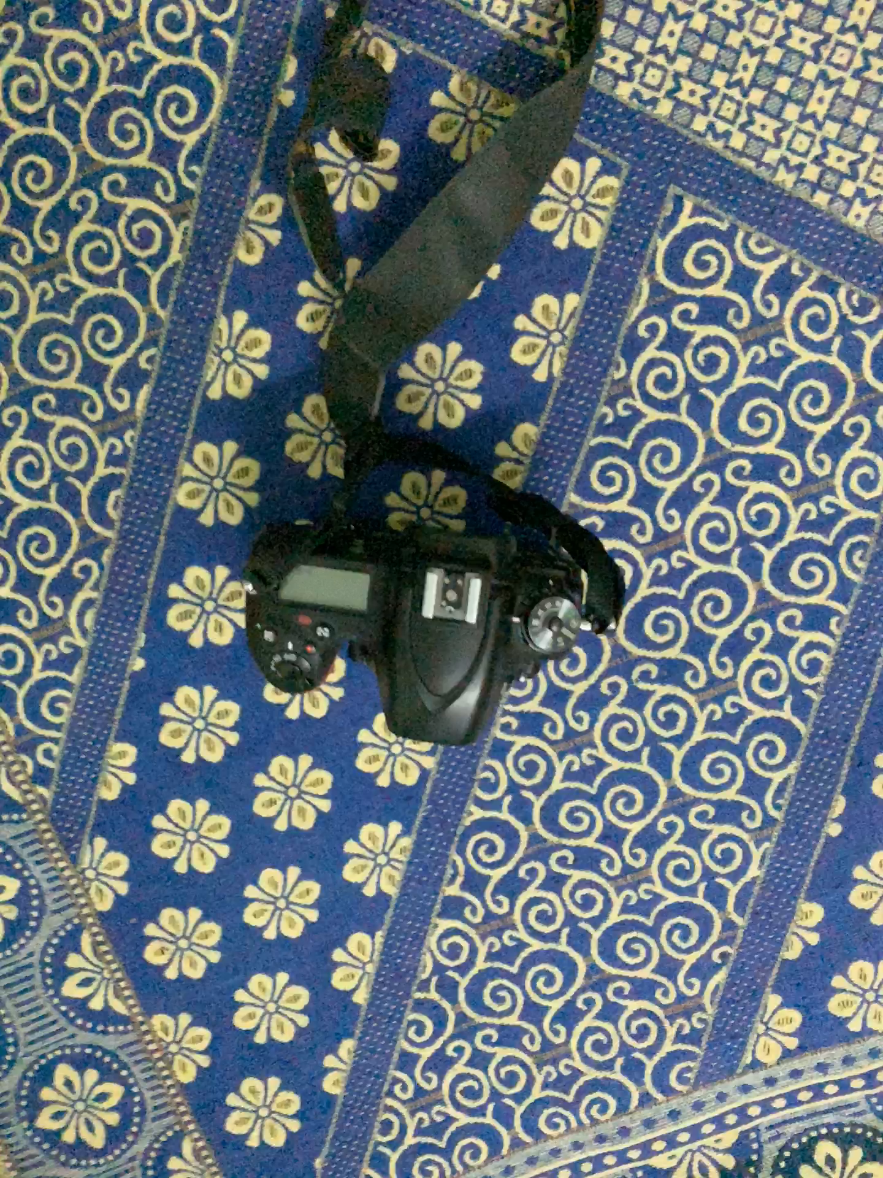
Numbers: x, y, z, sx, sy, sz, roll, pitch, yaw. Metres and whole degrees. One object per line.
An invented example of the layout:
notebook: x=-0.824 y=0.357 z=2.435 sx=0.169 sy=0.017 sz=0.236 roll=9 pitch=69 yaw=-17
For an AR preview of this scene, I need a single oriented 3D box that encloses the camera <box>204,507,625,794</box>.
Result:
camera: x=-0.011 y=0.020 z=0.383 sx=0.150 sy=0.090 sz=0.088 roll=6 pitch=99 yaw=1
